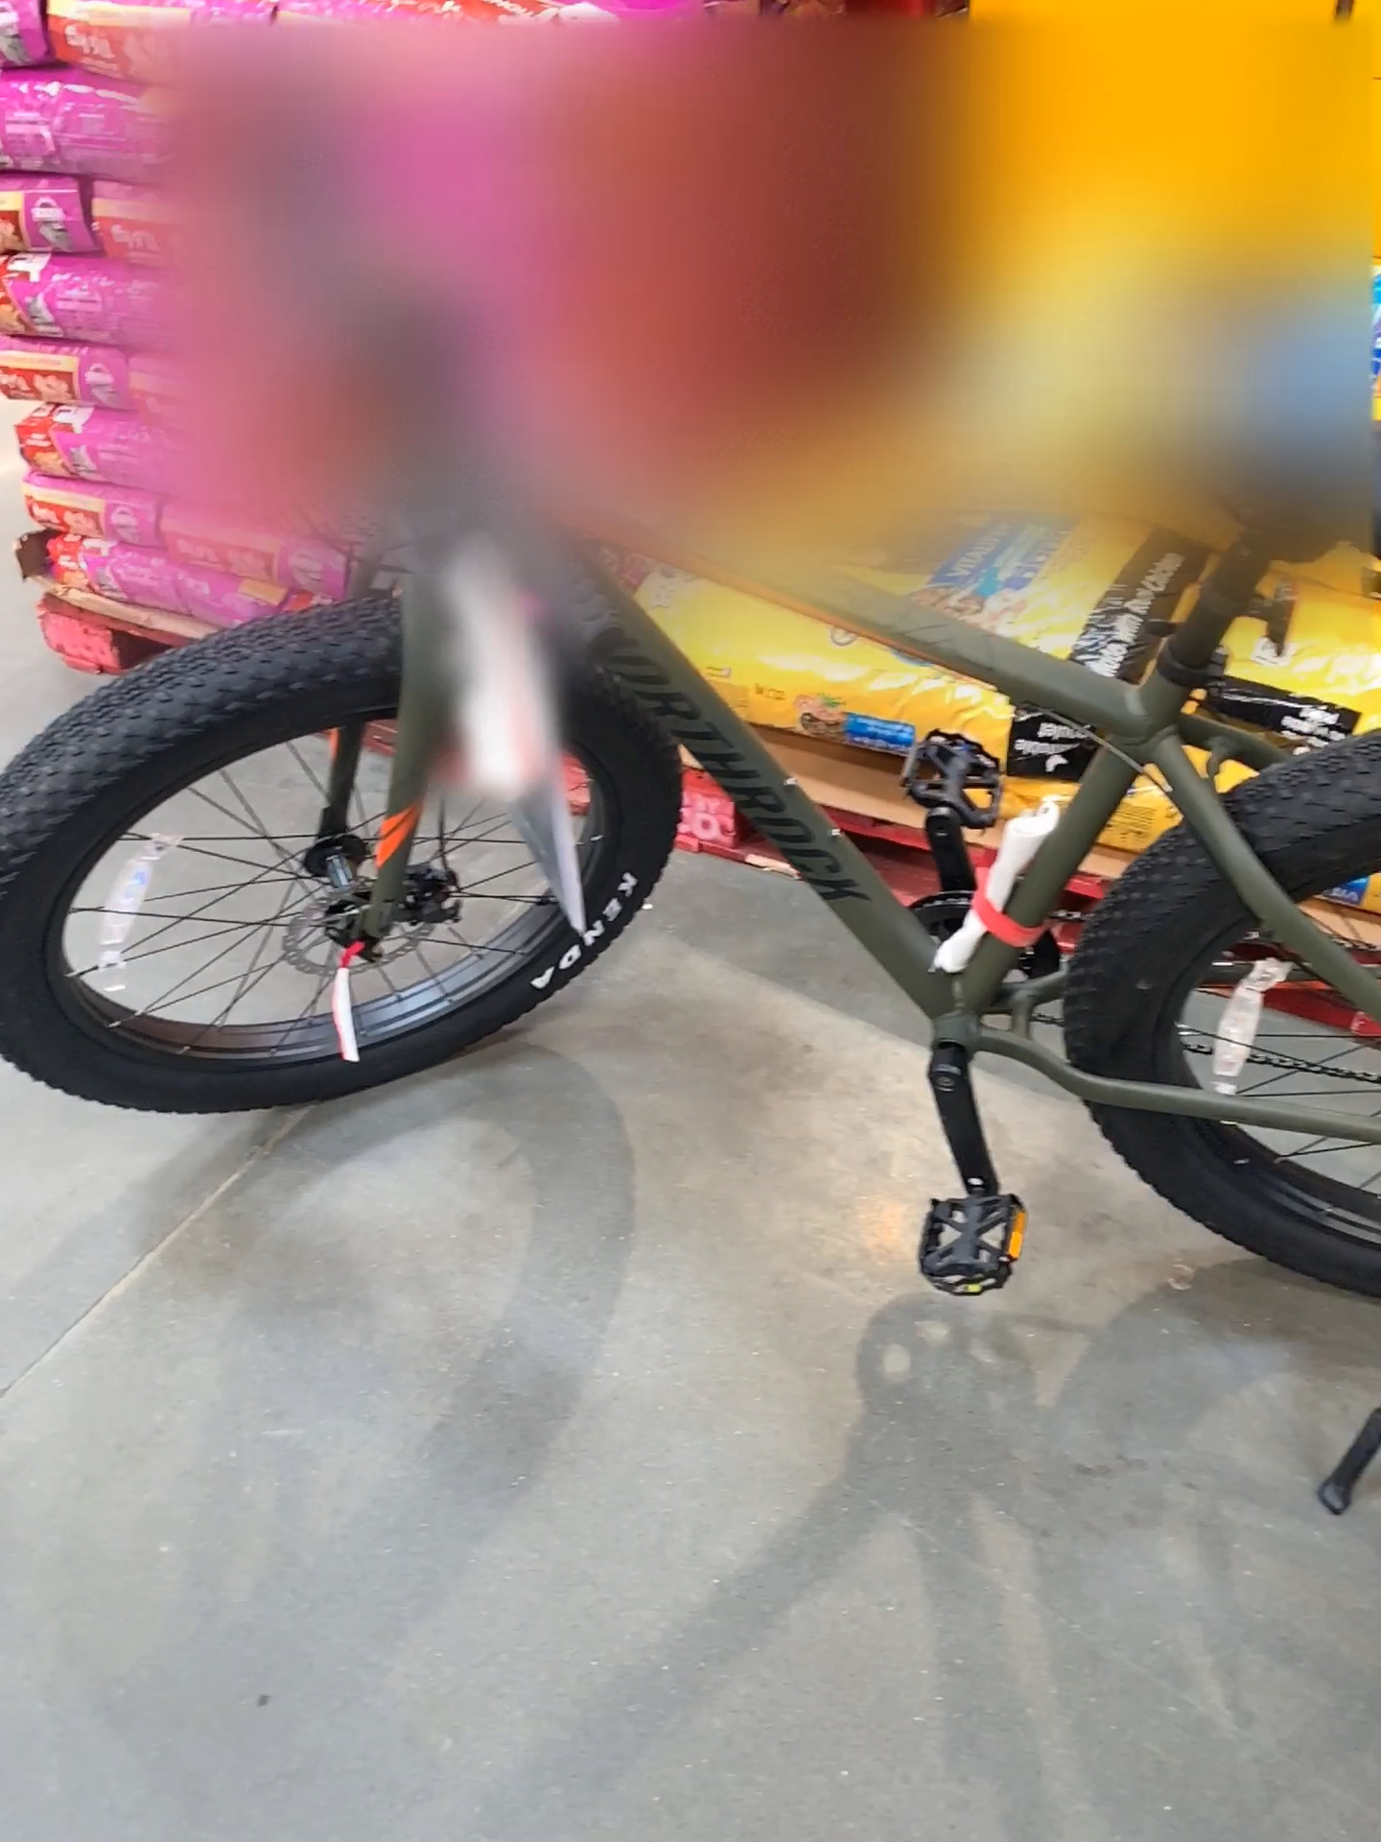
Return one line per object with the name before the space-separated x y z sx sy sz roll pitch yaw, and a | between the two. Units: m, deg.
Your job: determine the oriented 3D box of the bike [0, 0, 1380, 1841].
bike | 0.202 0.041 0.835 1.712 1.203 0.595 3 38 -5
